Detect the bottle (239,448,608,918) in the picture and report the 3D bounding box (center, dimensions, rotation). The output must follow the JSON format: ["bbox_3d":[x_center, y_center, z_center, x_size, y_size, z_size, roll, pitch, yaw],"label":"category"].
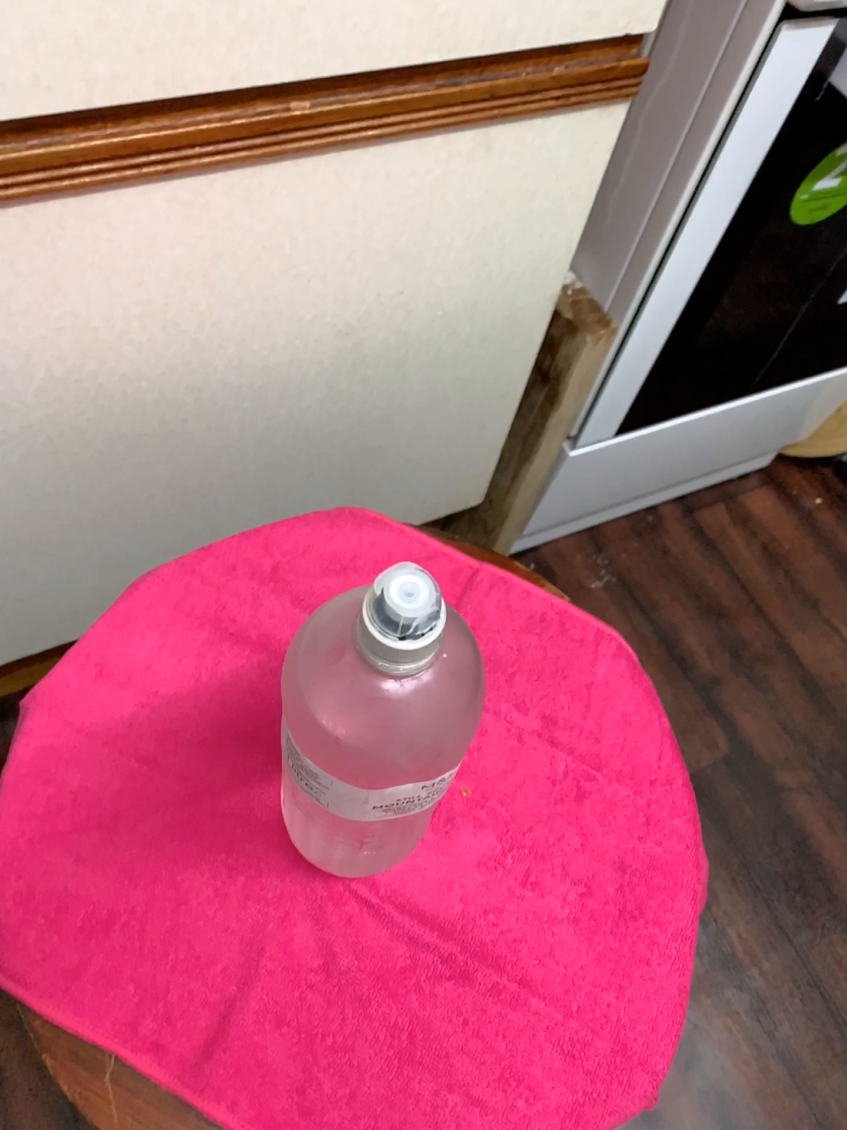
[{"bbox_3d":[-0.017,0.074,0.391,0.090,0.258,0.080,-35,71,-26],"label":"bottle"}]
